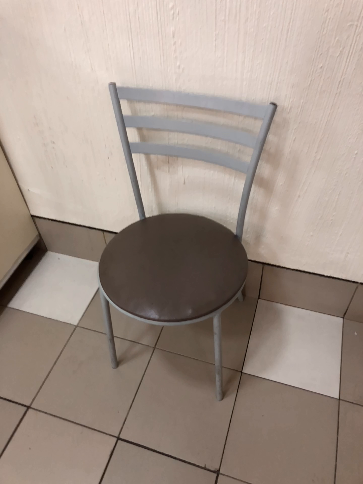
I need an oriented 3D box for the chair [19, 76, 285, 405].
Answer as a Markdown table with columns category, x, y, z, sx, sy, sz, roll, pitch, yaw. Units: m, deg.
| category | x | y | z | sx | sy | sz | roll | pitch | yaw |
| --- | --- | --- | --- | --- | --- | --- | --- | --- | --- |
| chair | -0.014 | 0.030 | 1.095 | 0.430 | 0.765 | 0.423 | 11 | 48 | 14 |
